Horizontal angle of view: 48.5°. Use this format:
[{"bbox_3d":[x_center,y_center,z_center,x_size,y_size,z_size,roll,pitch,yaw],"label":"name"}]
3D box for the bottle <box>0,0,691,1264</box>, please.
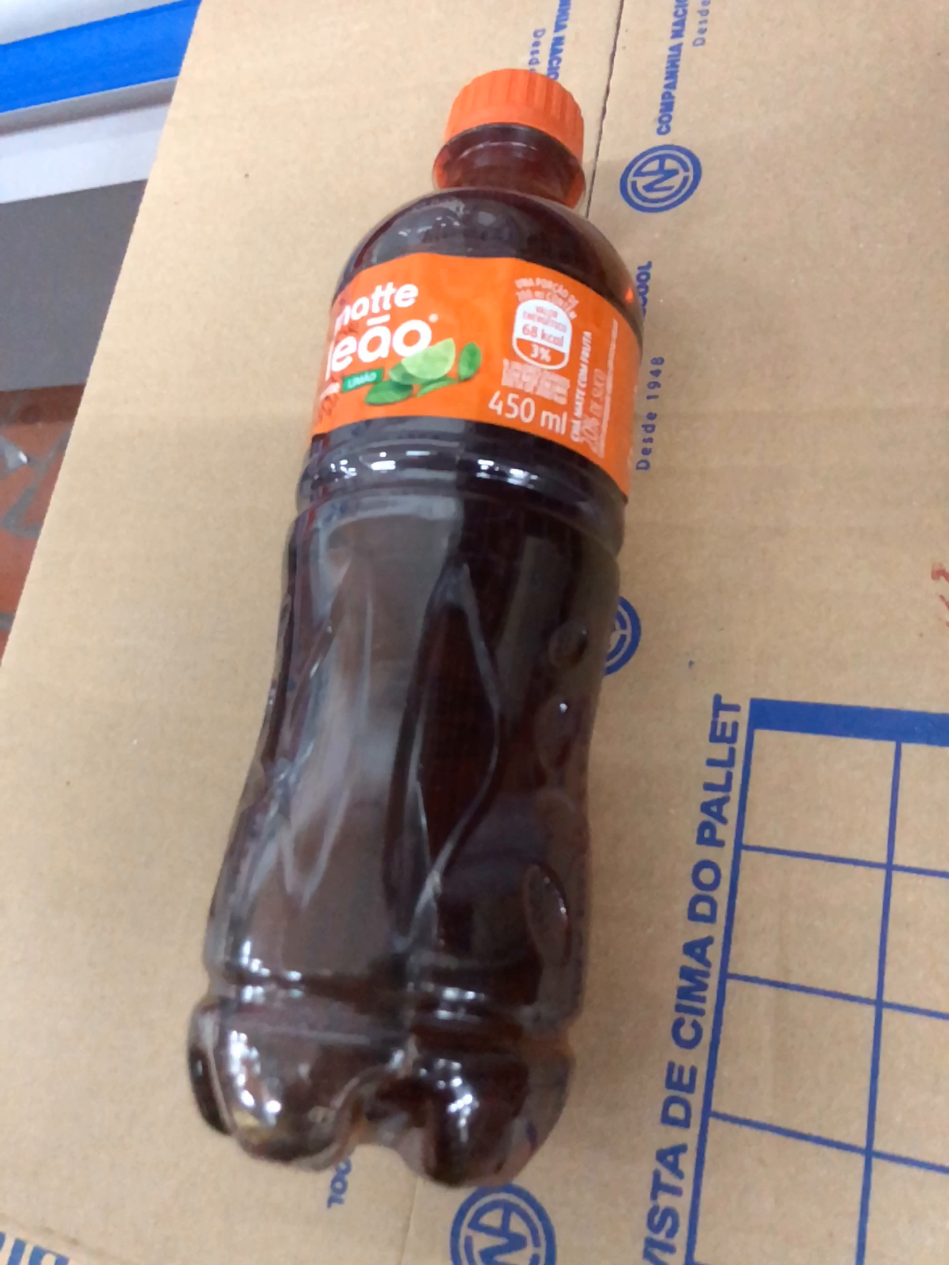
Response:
[{"bbox_3d":[-0.008,-0.018,0.188,0.070,0.060,0.220,1,72,21],"label":"bottle"}]
